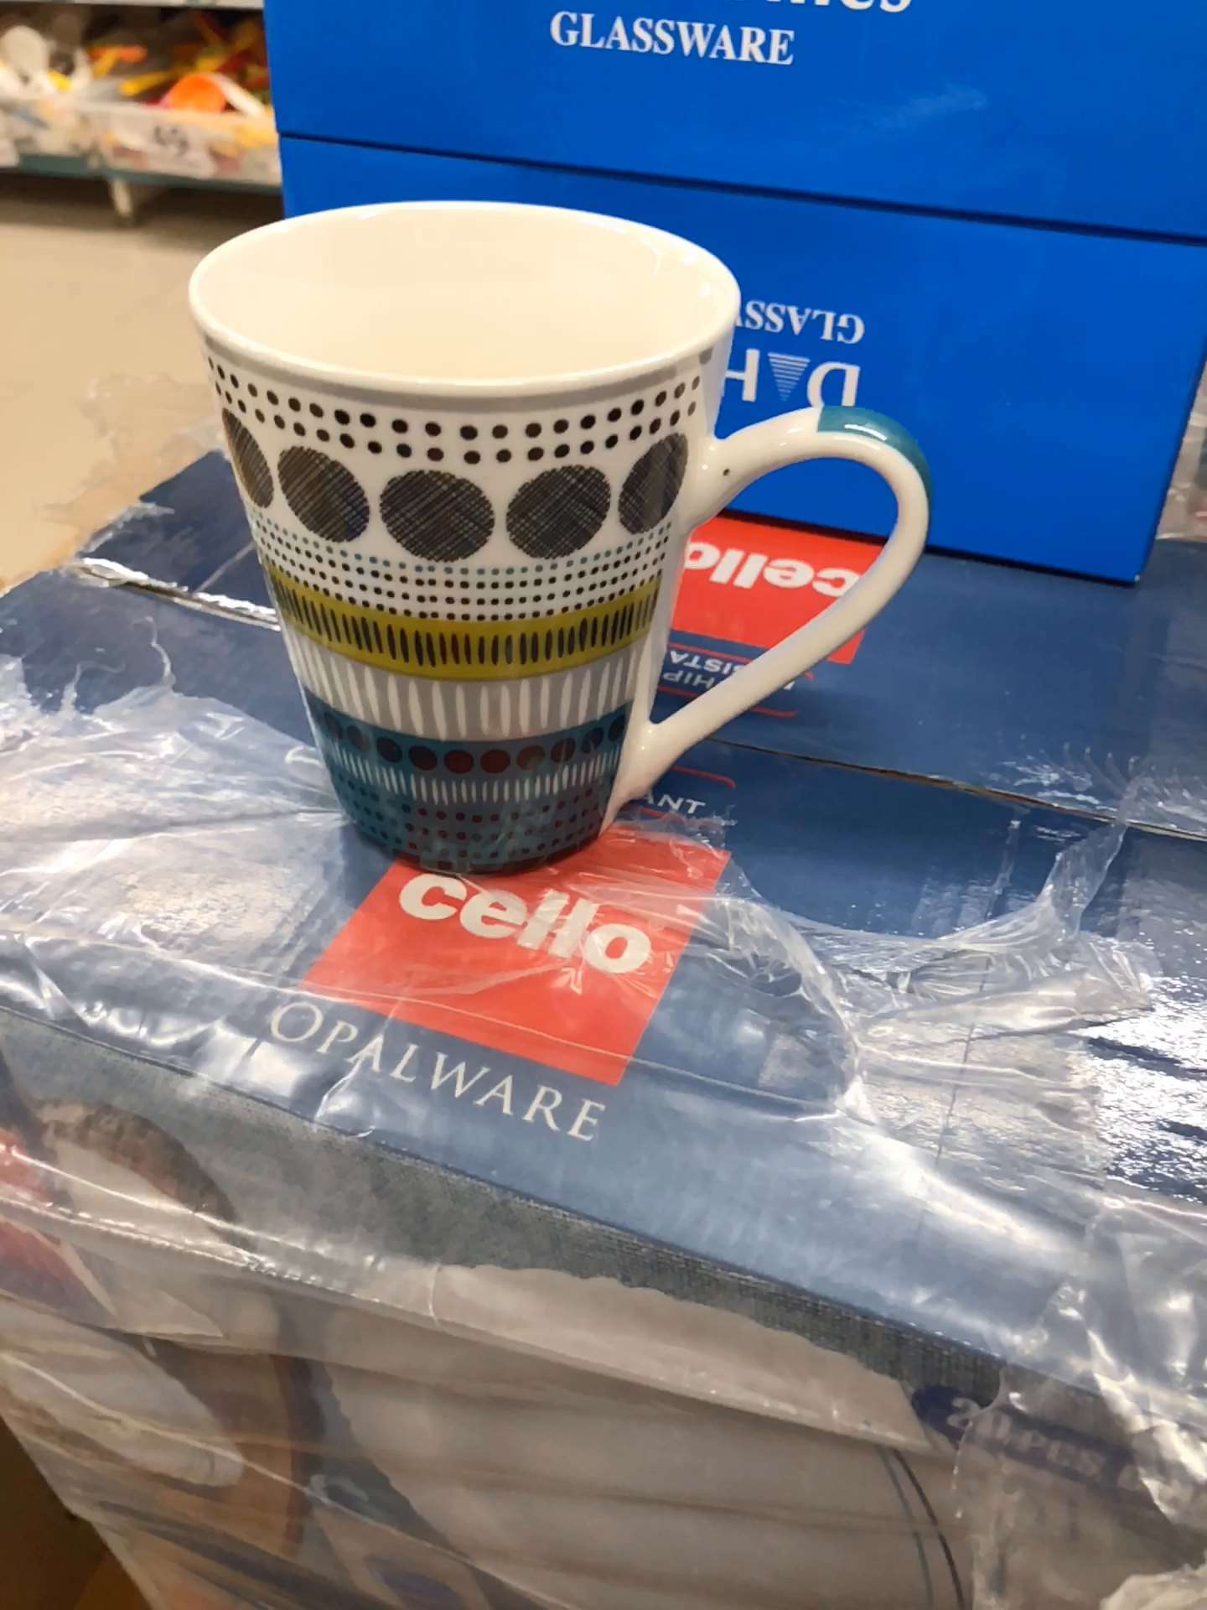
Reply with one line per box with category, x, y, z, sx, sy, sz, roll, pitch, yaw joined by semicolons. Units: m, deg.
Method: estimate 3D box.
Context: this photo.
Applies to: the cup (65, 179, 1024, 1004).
cup;-0.001;-0.041;0.228;0.120;0.089;0.091;10;42;12
